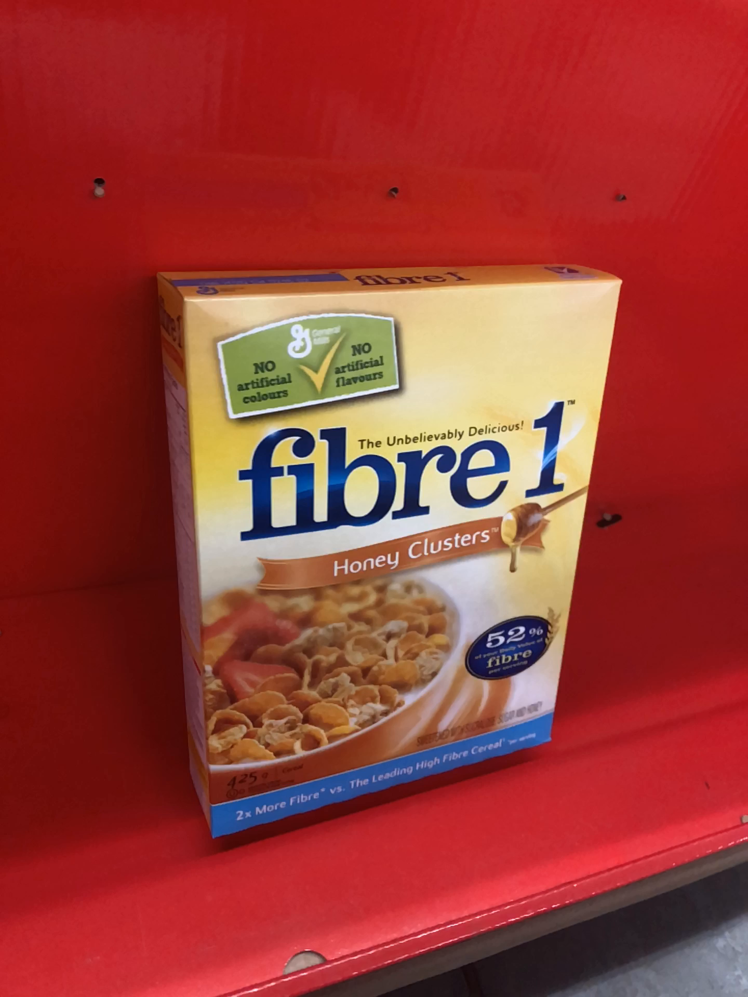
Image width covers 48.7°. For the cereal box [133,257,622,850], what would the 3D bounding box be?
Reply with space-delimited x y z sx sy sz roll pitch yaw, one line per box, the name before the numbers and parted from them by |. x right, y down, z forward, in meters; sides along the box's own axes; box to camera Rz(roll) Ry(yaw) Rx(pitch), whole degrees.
cereal box | 0.003 0.023 0.418 0.210 0.269 0.060 -8 24 -22
